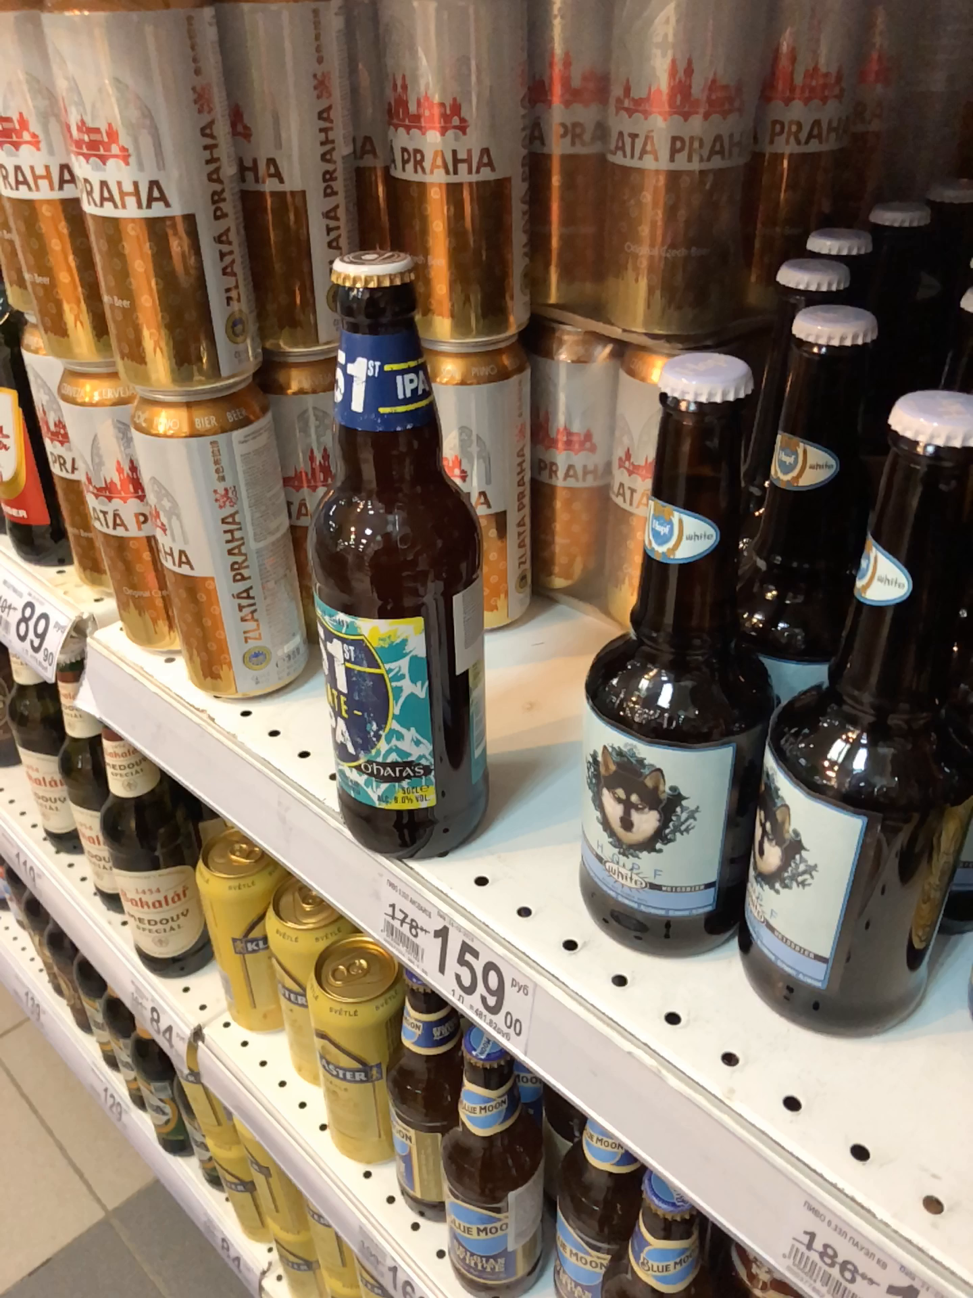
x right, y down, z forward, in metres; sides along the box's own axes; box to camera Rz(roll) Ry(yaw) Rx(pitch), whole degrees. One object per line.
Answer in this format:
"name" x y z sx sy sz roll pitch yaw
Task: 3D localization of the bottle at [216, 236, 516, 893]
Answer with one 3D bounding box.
"bottle" -0.041 -0.028 0.427 0.070 0.239 0.080 -22 38 -30
